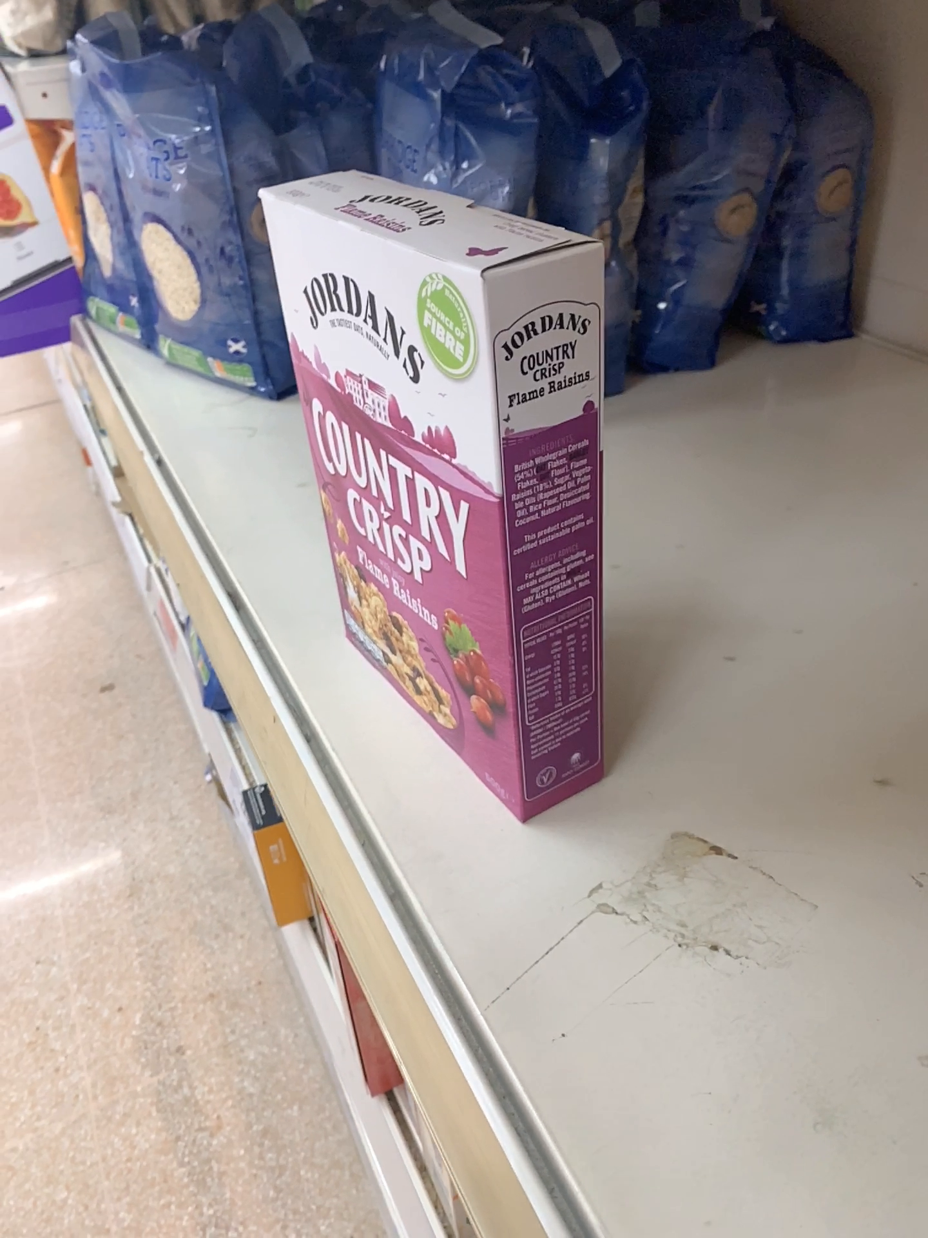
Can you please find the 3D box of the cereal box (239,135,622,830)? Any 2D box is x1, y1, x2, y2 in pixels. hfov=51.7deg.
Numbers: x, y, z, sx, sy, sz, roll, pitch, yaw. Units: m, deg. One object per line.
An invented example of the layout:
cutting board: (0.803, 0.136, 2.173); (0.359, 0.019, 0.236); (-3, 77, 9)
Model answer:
cereal box: (-0.015, -0.062, 0.423); (0.050, 0.248, 0.191); (-23, 39, -24)
